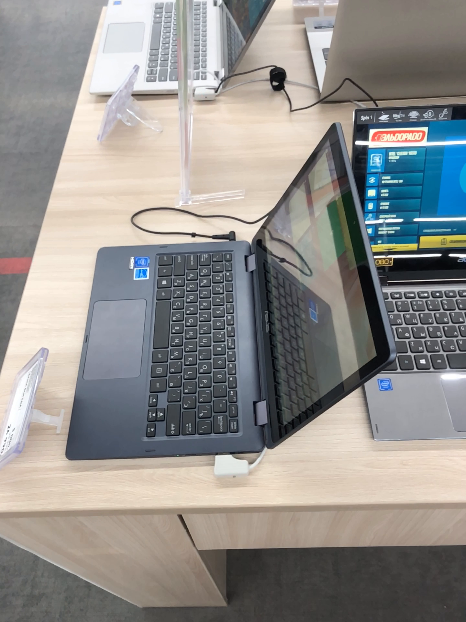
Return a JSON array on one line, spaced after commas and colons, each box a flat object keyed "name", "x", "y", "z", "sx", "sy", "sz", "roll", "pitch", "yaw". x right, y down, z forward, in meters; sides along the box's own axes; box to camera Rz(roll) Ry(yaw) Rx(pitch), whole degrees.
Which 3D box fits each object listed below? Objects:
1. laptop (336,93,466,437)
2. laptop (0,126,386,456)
[{"name": "laptop", "x": 0.265, "y": -0.050, "z": 0.515, "sx": 0.261, "sy": 0.162, "sz": 0.300, "roll": -2, "pitch": 56, "yaw": 2}, {"name": "laptop", "x": -0.031, "y": -0.022, "z": 0.514, "sx": 0.280, "sy": 0.166, "sz": 0.270, "roll": -3, "pitch": 55, "yaw": 1}]
